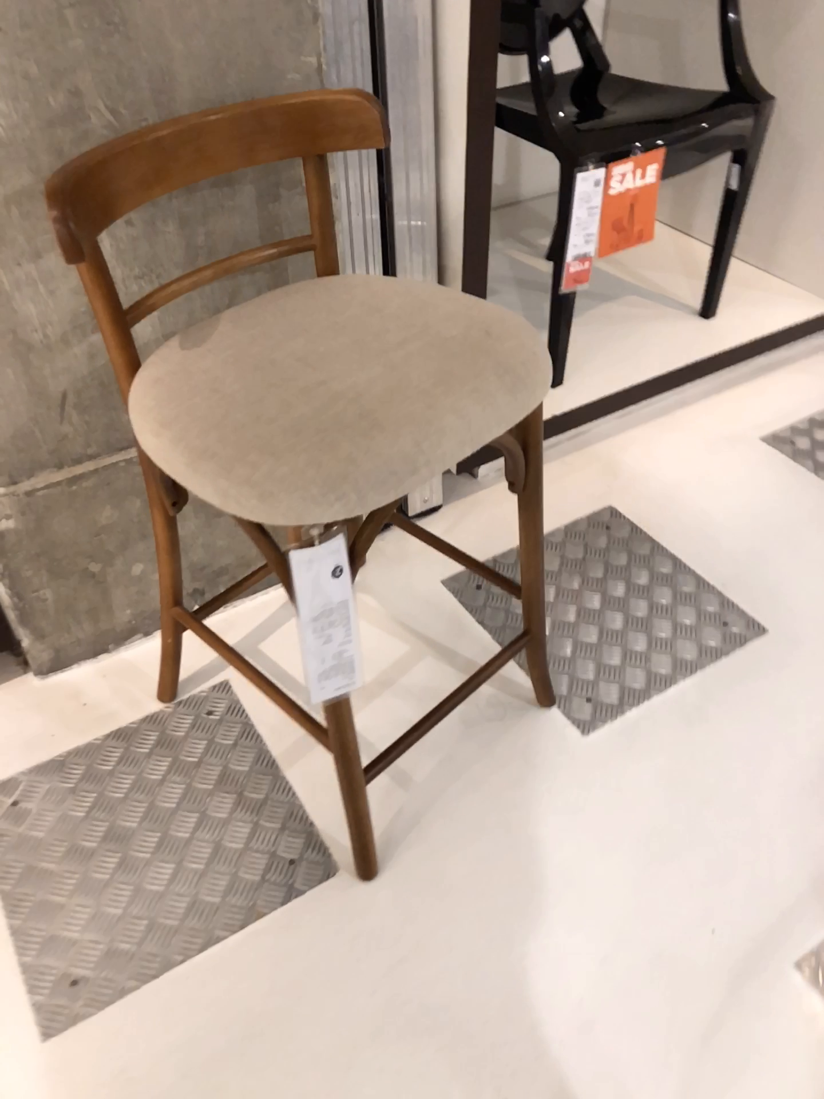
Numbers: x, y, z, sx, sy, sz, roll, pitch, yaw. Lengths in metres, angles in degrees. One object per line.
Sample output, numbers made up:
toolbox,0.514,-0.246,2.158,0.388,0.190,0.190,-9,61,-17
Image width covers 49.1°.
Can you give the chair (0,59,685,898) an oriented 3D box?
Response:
chair,-0.070,-0.084,1.128,0.482,0.794,0.482,31,51,31
